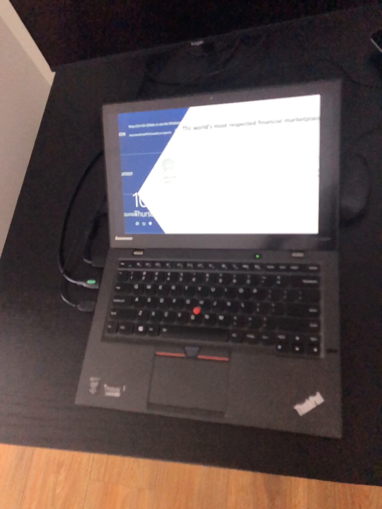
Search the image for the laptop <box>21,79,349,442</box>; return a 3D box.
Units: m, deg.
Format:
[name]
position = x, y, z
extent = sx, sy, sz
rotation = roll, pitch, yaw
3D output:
[laptop]
position = 0.014, -0.008, 0.513
extent = 0.323, 0.117, 0.389
rotation = 1, 68, 16
